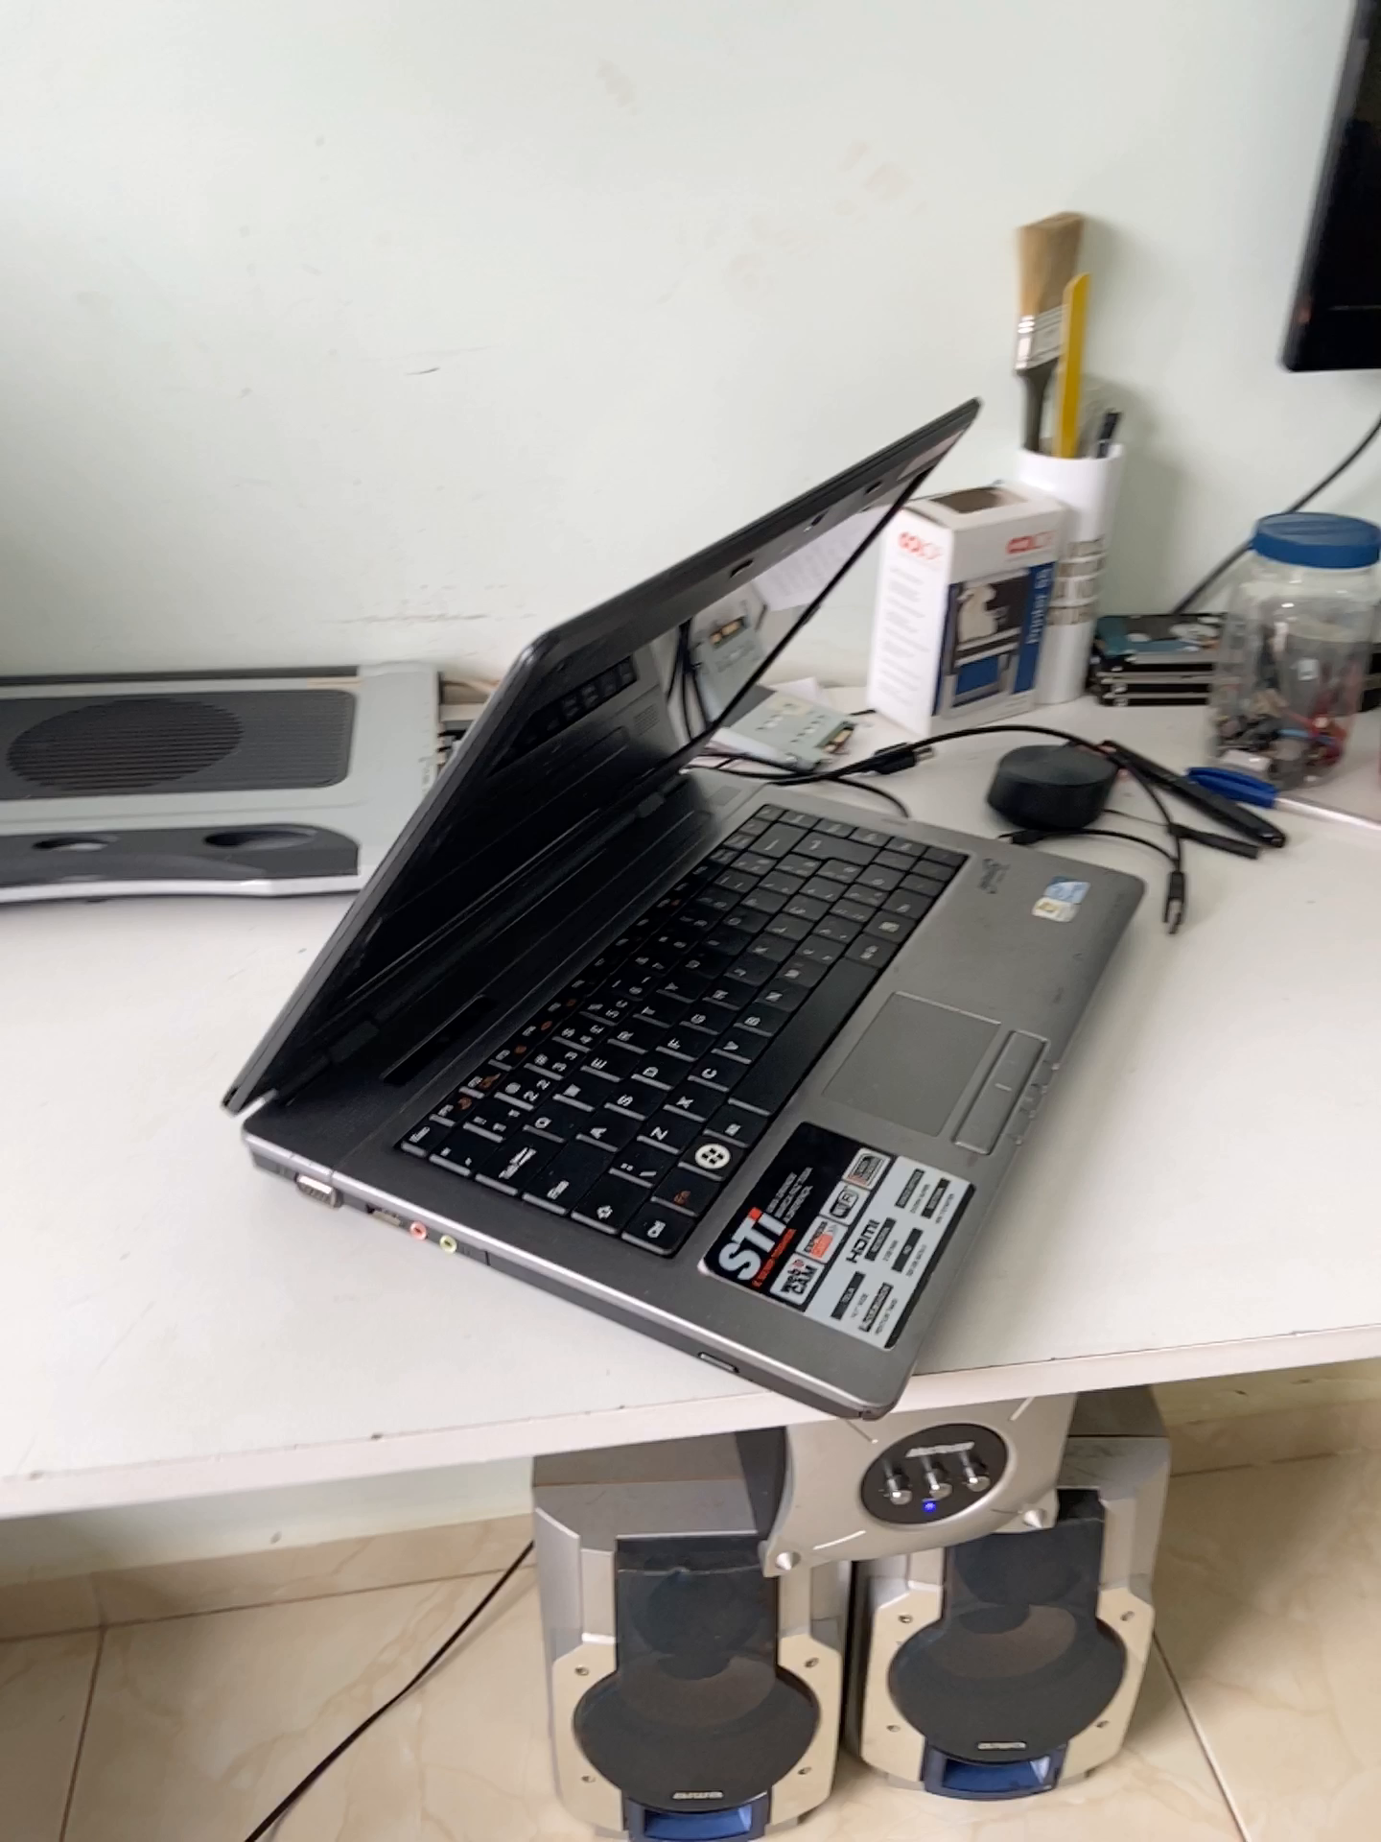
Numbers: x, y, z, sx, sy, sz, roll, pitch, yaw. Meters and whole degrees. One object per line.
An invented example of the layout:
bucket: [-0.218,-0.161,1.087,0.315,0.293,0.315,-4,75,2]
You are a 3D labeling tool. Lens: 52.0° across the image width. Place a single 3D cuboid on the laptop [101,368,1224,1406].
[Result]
laptop: [0.024,-0.059,0.525,0.241,0.200,0.343,16,34,23]
